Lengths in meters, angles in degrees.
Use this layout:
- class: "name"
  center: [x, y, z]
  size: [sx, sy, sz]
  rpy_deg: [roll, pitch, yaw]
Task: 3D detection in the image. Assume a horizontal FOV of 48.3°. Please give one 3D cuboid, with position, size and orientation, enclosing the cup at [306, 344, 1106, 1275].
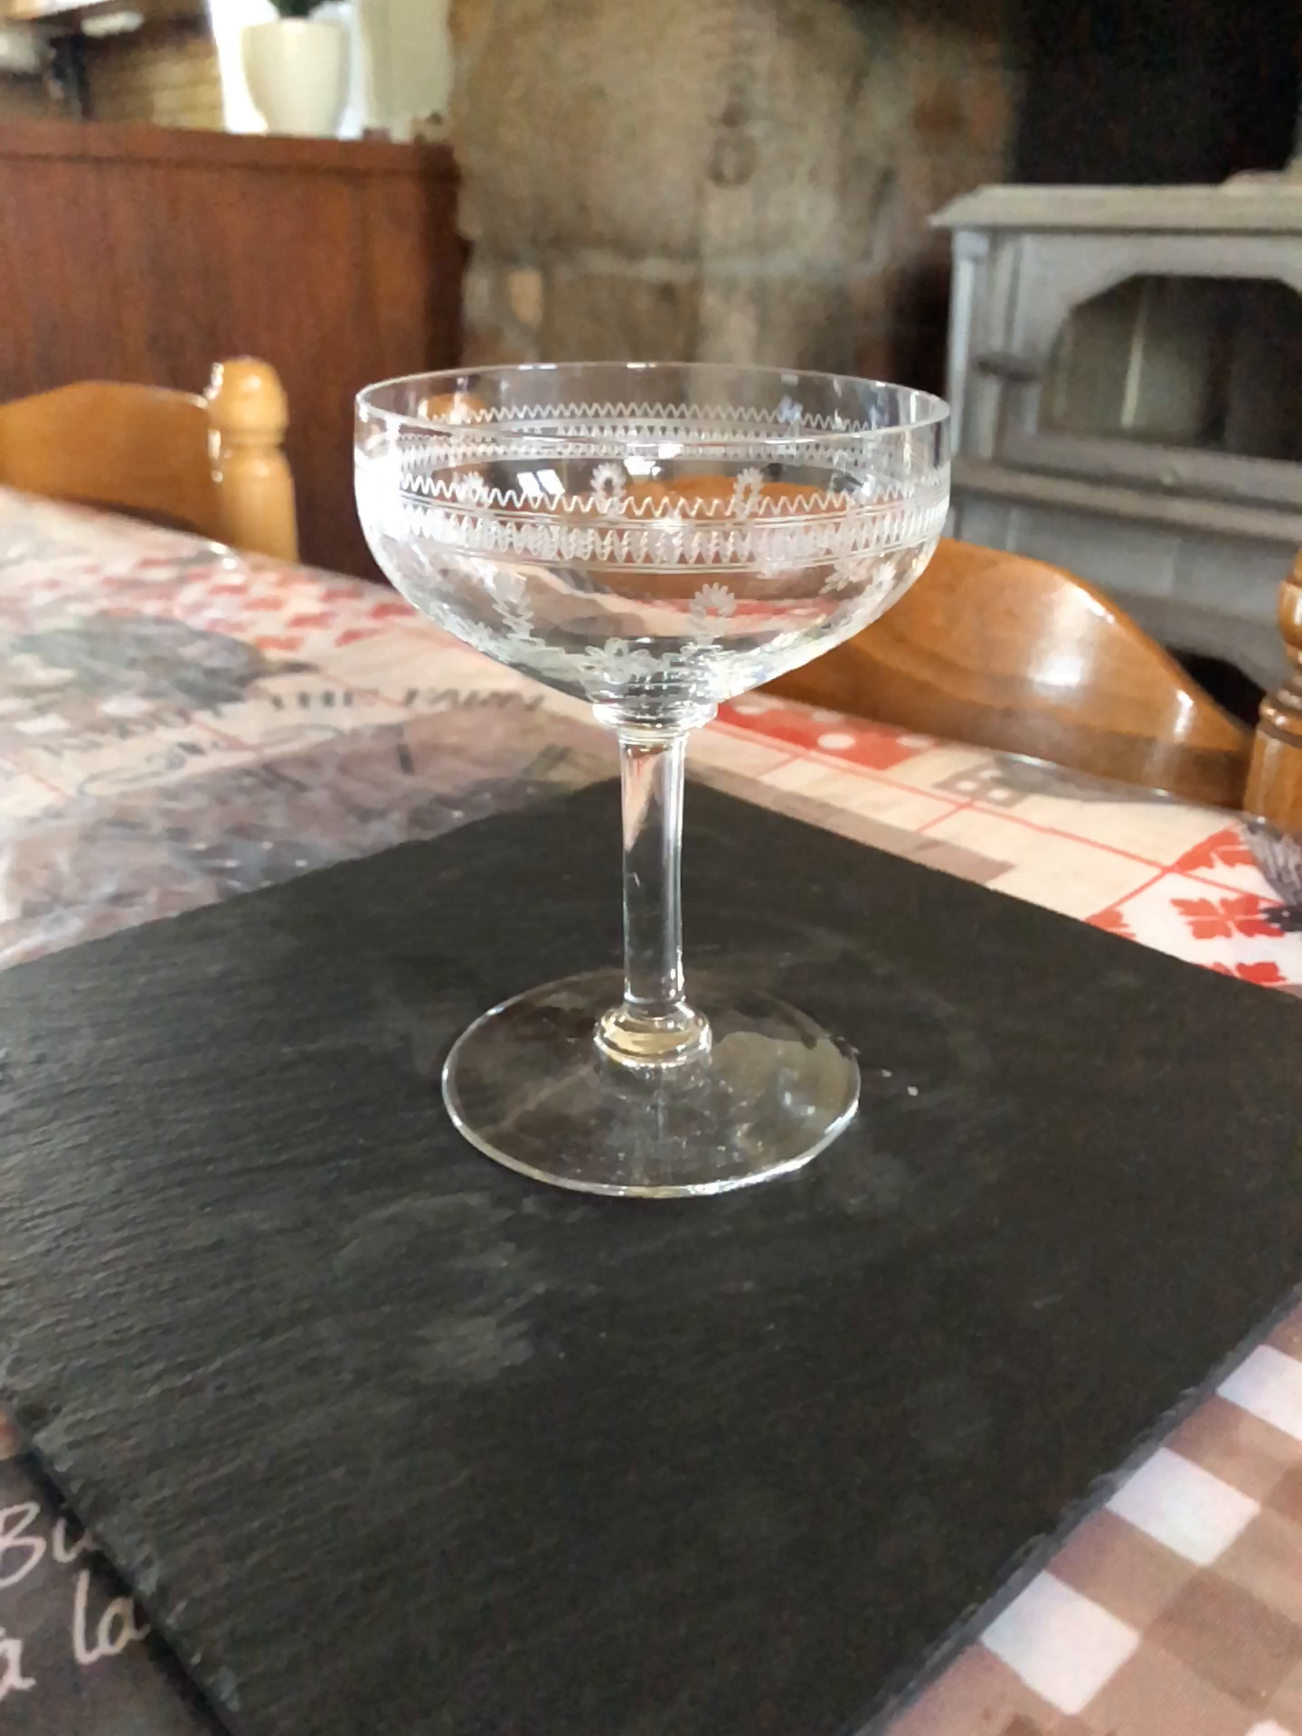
- class: "cup"
  center: [0.002, -0.020, 0.240]
  size: [0.090, 0.119, 0.090]
  rpy_deg: [0, 23, 0]
